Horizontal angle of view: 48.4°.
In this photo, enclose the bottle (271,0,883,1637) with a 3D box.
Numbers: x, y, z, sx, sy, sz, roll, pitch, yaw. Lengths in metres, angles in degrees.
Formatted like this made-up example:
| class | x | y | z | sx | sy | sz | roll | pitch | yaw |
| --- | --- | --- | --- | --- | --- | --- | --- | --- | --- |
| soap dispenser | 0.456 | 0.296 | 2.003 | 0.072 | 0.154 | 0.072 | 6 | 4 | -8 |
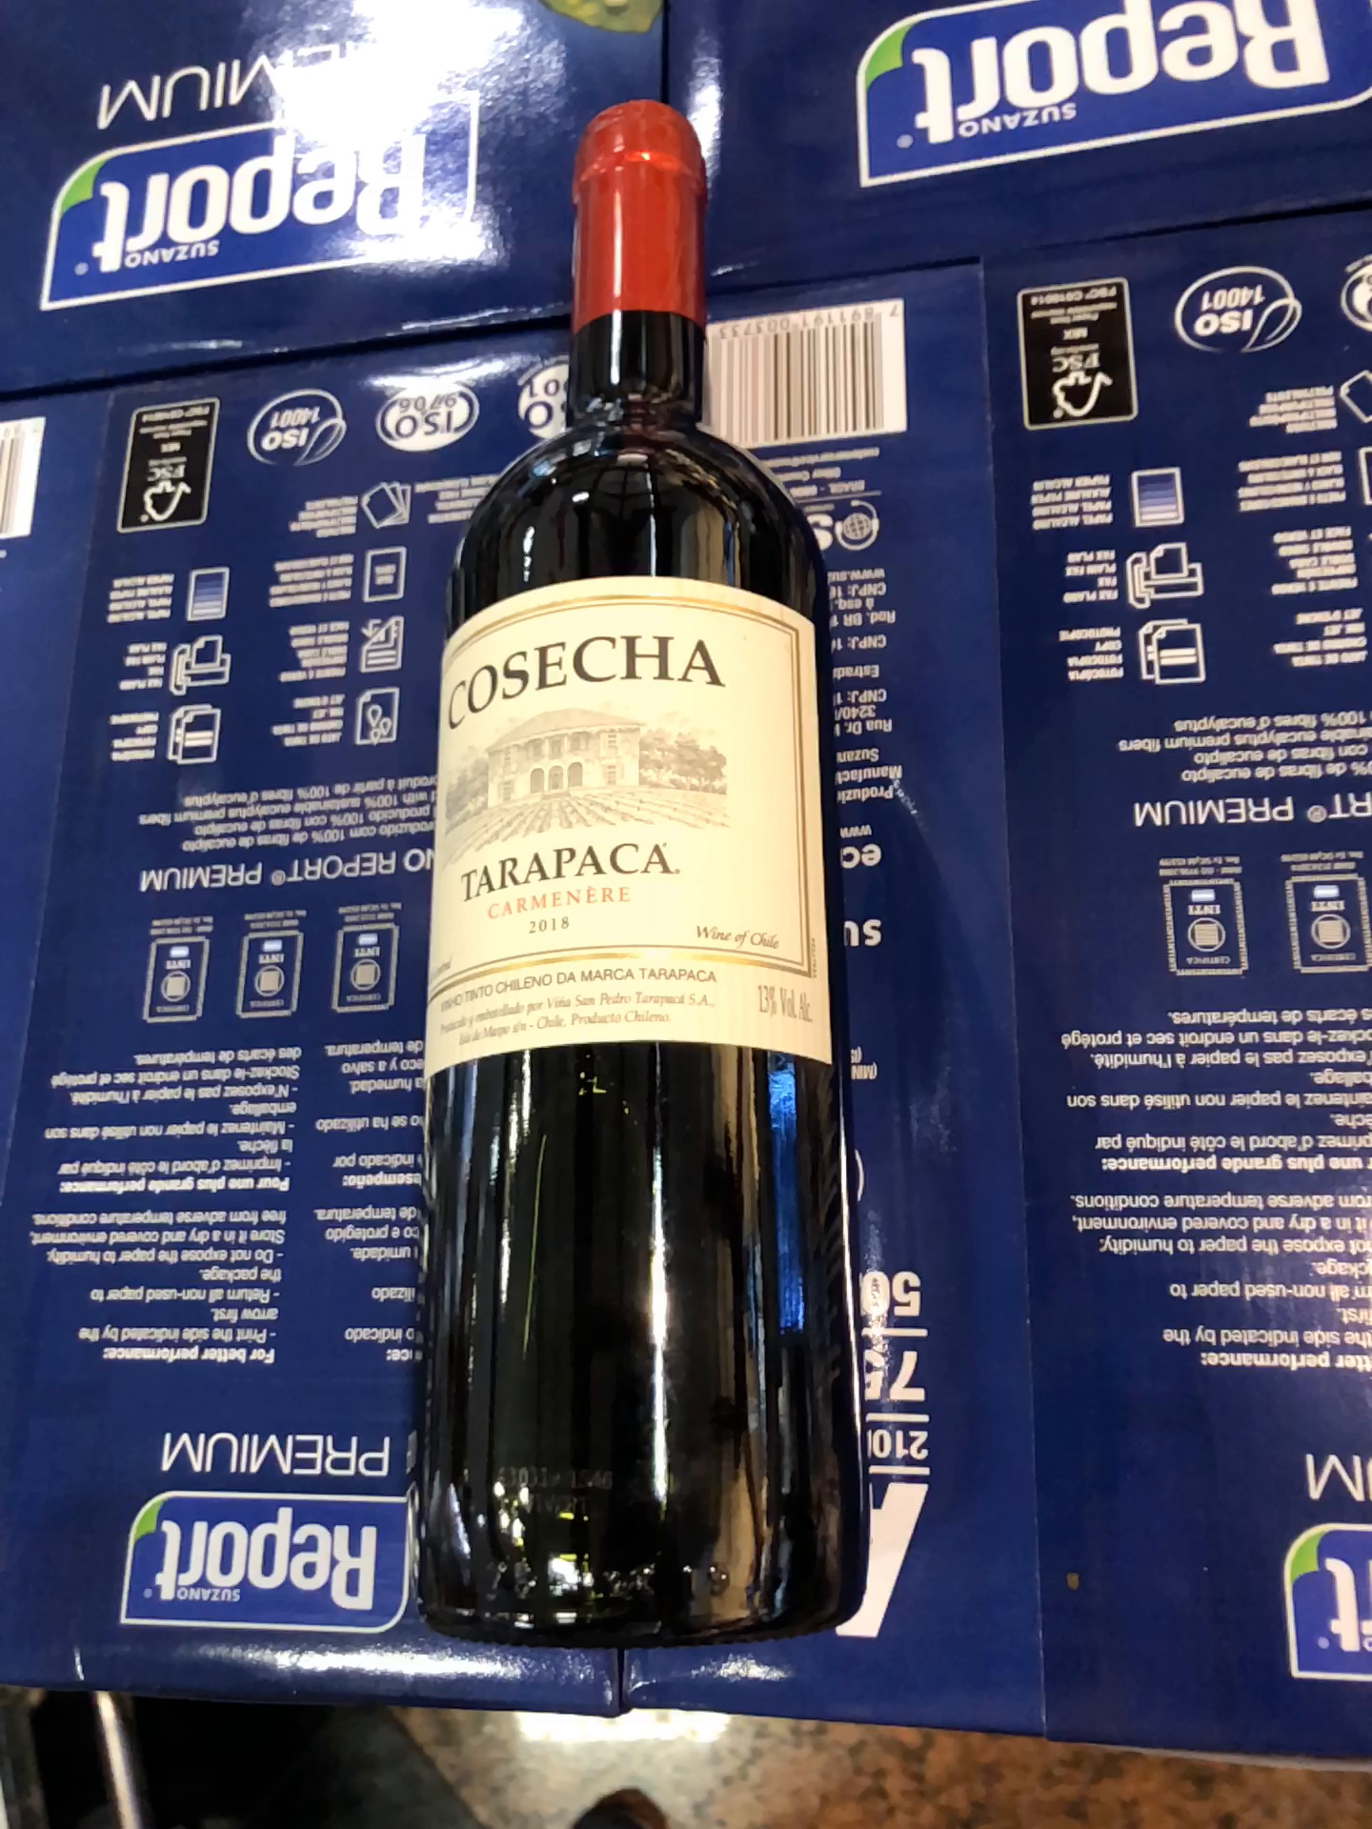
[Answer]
| class | x | y | z | sx | sy | sz | roll | pitch | yaw |
| --- | --- | --- | --- | --- | --- | --- | --- | --- | --- |
| bottle | -0.018 | -0.050 | 0.288 | 0.080 | 0.060 | 0.331 | -6 | 71 | 11 |
